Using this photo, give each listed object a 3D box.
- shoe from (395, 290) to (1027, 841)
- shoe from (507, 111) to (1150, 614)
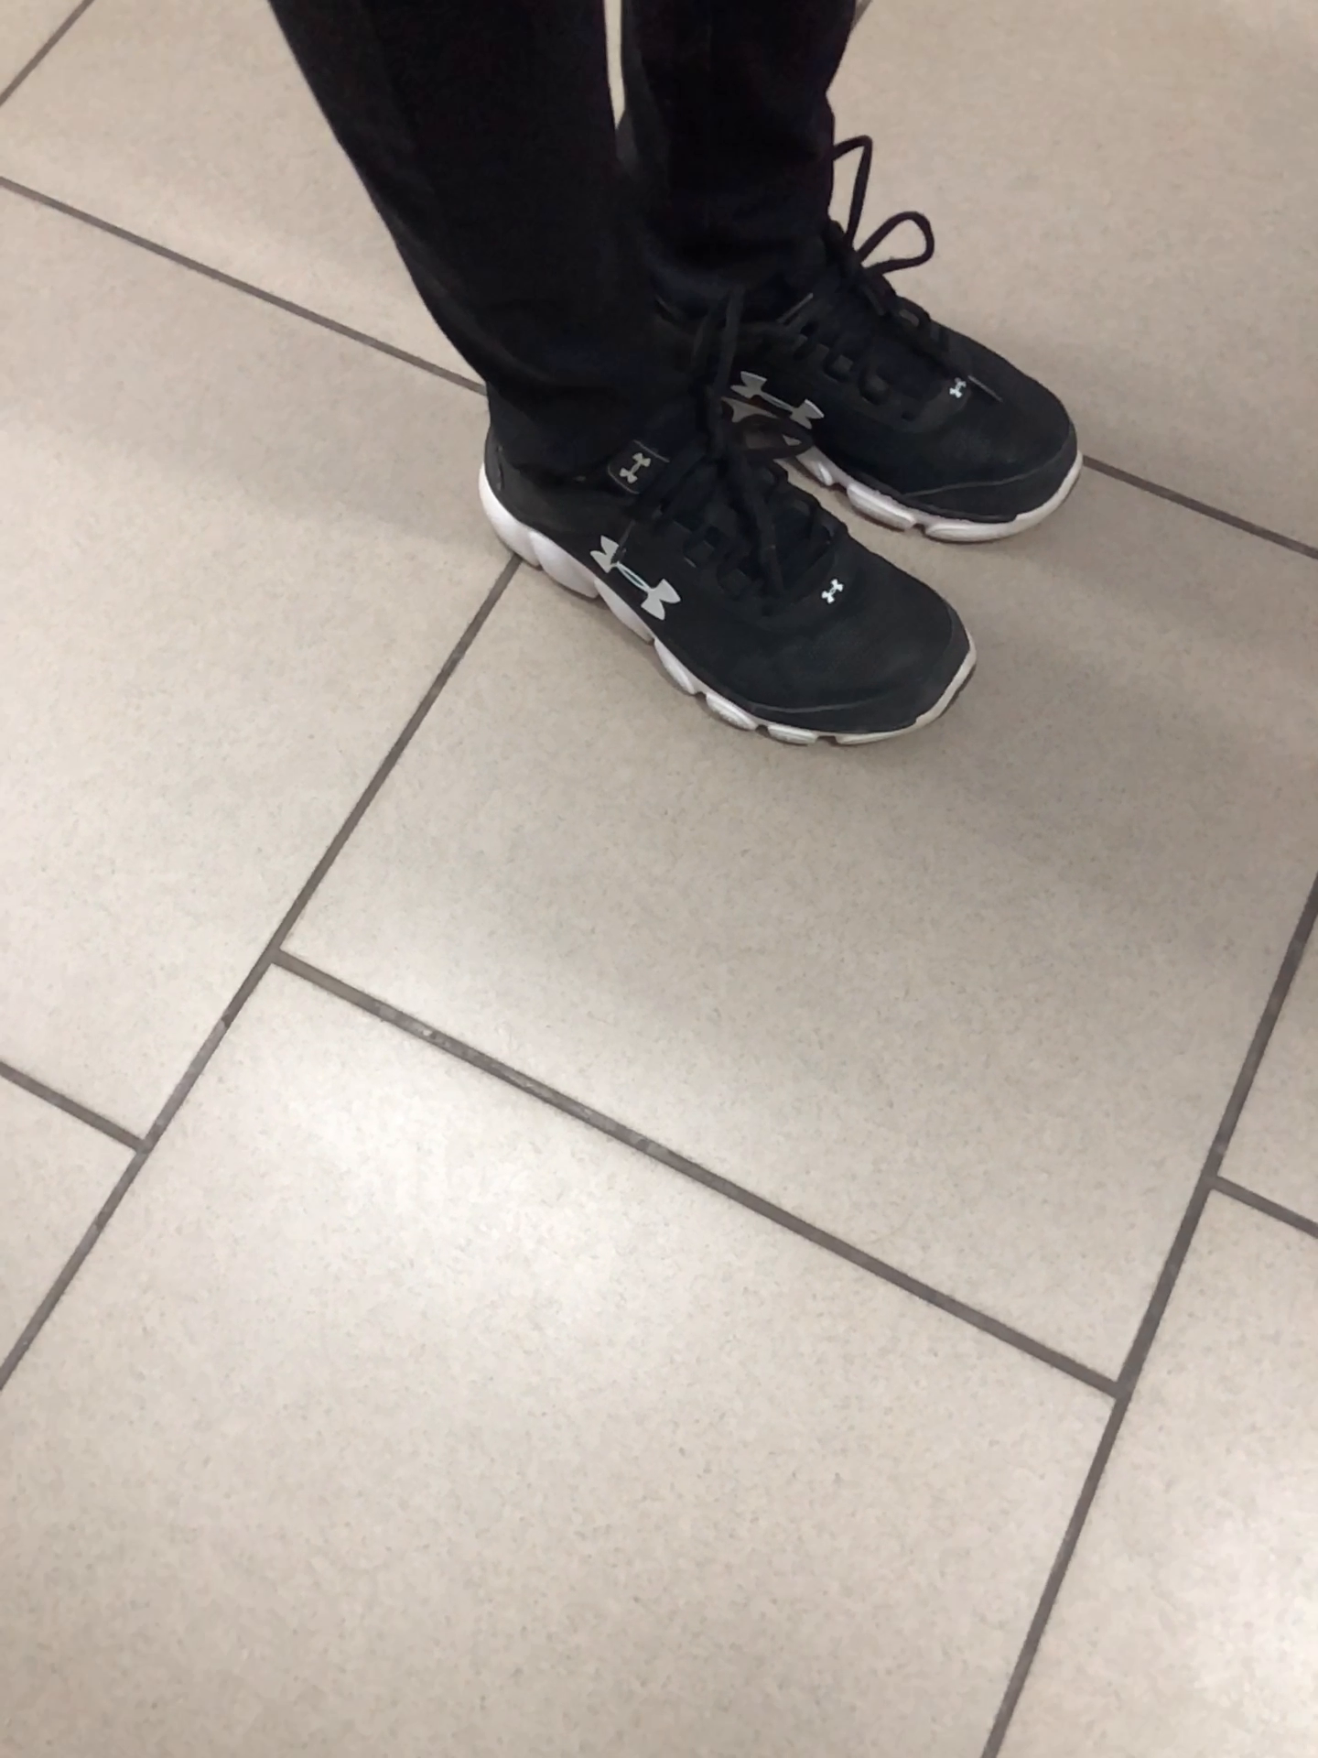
[{"bbox_3d":[0.021,-0.146,0.673,0.260,0.090,0.110,34,74,12],"label":"shoe"},{"bbox_3d":[0.076,-0.249,0.698,0.270,0.090,0.110,27,73,10],"label":"shoe"}]
